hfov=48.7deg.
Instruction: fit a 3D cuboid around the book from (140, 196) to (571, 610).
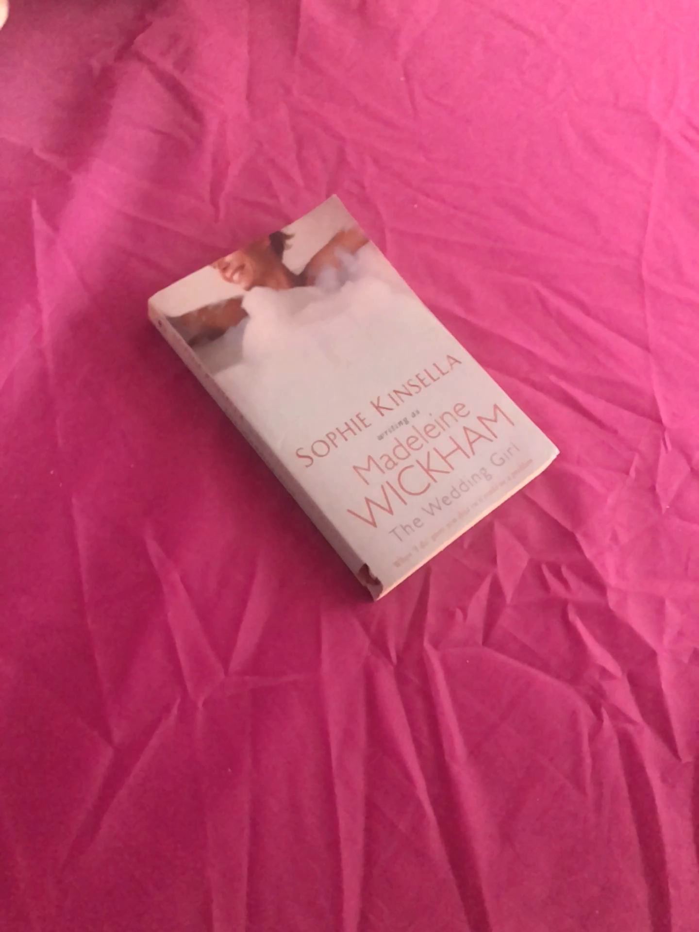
[{"bbox_3d":[0.002,-0.045,0.419,0.135,0.027,0.201,-33,76,-24],"label":"book"}]
